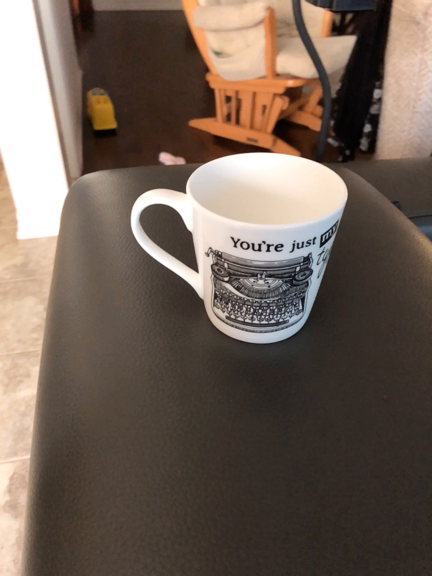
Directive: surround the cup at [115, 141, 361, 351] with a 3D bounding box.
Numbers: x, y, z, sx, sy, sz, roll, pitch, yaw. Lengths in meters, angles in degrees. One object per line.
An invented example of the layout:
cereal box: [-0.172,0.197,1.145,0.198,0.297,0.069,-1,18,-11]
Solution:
cup: [0.011,-0.027,0.288,0.117,0.089,0.082,3,39,2]
